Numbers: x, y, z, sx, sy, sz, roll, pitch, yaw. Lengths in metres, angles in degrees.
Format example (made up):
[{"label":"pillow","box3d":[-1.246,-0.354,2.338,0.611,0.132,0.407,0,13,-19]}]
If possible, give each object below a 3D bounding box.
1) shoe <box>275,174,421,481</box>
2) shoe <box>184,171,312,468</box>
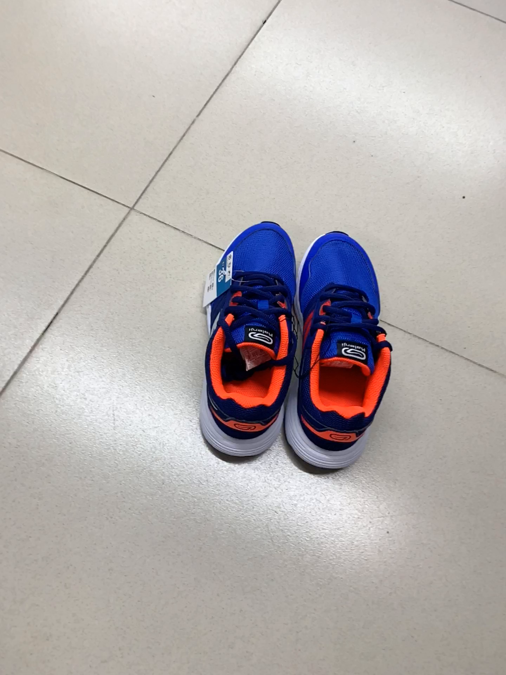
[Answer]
[{"label":"shoe","box3d":[0.086,-0.008,0.485,0.090,0.120,0.250,9,65,-3]},{"label":"shoe","box3d":[-0.004,-0.016,0.499,0.090,0.120,0.250,7,65,-4]}]
